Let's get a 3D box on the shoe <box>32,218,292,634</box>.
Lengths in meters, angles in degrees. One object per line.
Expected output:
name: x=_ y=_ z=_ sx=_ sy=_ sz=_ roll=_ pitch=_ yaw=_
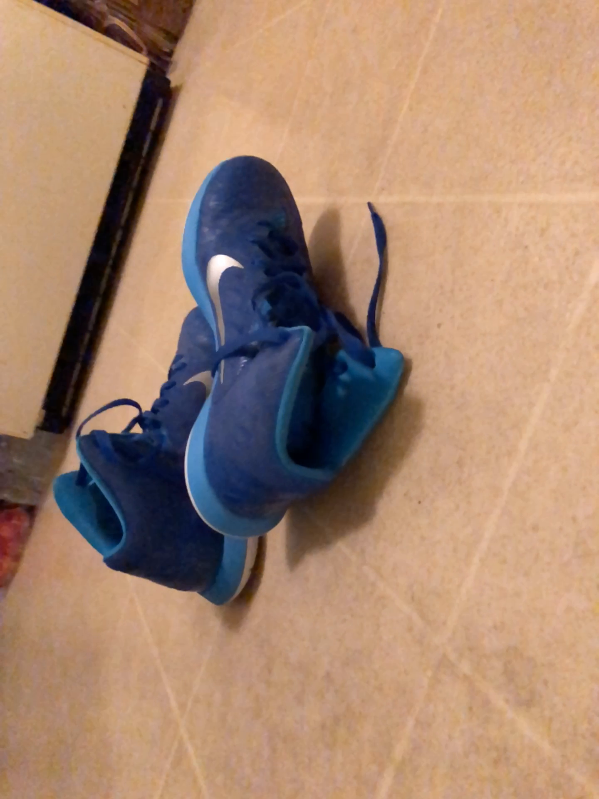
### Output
shoe: x=-0.113 y=0.016 z=0.555 sx=0.120 sy=0.144 sz=0.311 roll=-47 pitch=38 yaw=41

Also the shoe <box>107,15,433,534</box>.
shoe: x=-0.021 y=-0.074 z=0.444 sx=0.160 sy=0.119 sz=0.282 roll=-30 pitch=50 yaw=46
